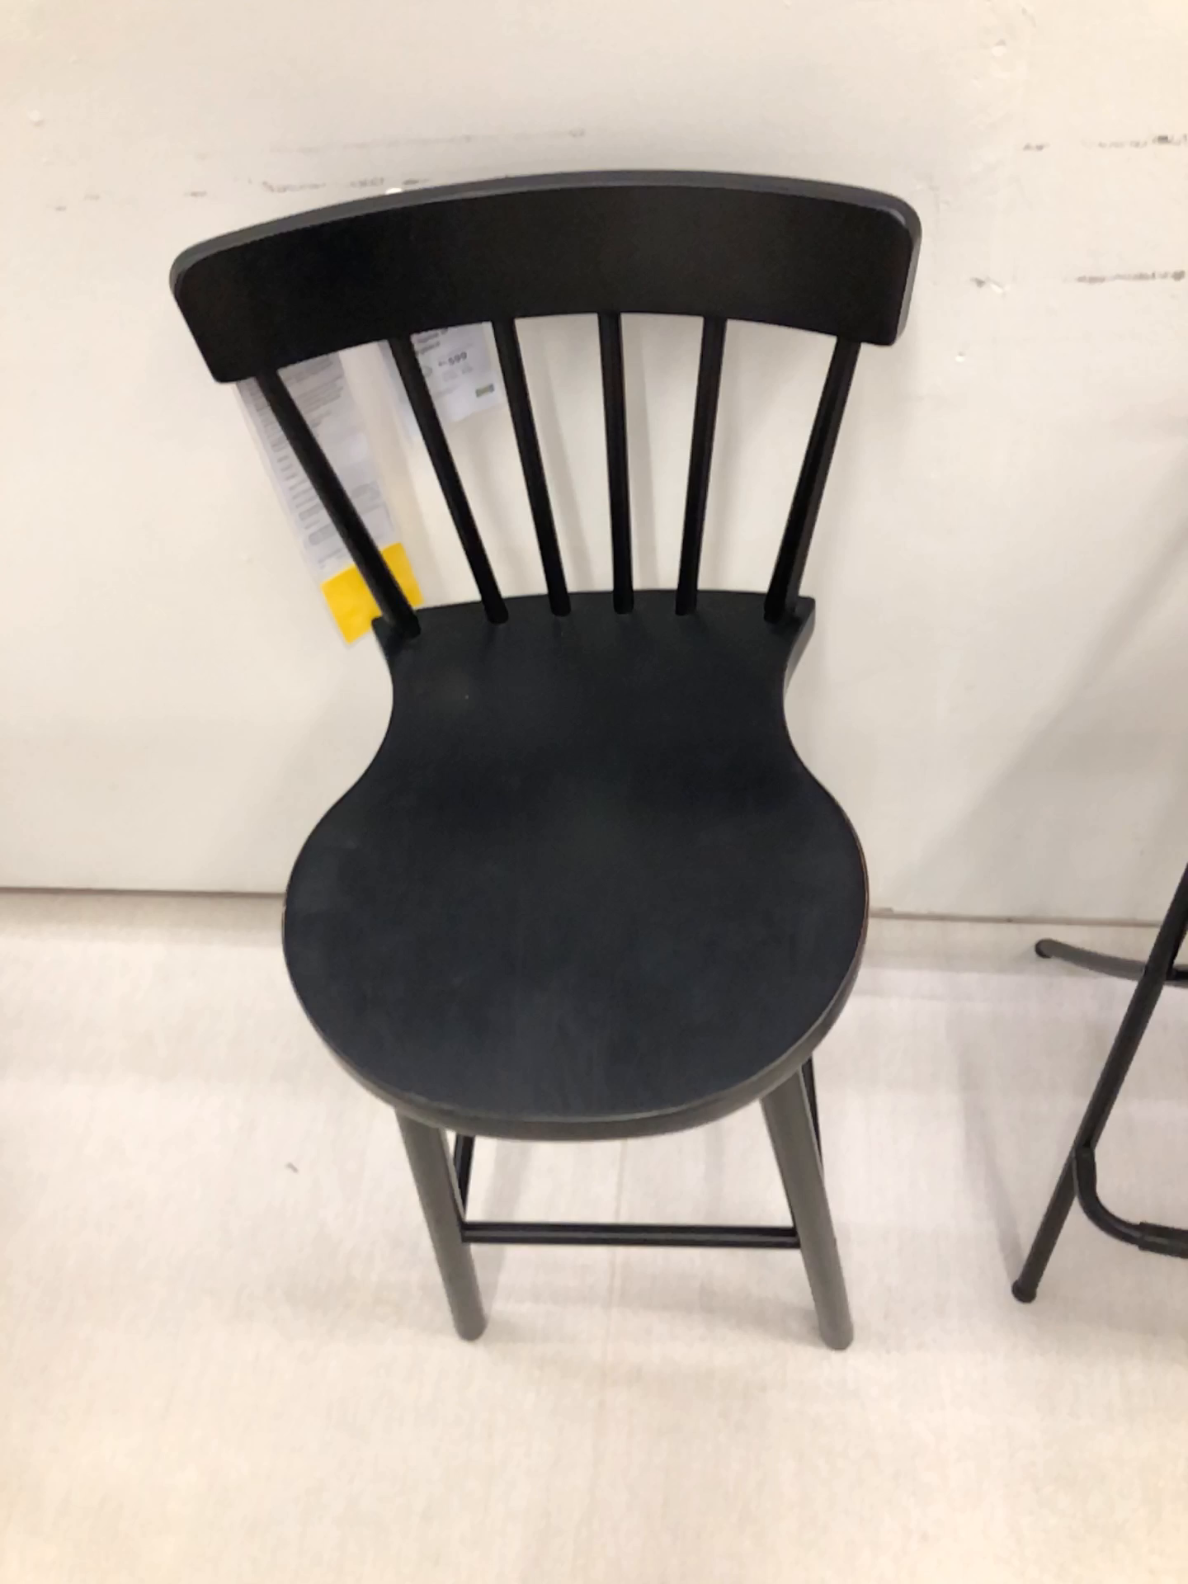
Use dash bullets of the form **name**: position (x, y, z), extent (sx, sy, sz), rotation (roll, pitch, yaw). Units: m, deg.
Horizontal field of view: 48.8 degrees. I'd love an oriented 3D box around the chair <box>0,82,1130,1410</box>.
- **chair**: position (-0.007, 0.089, 0.918), extent (0.460, 0.875, 0.483), rotation (-2, 56, 7)
